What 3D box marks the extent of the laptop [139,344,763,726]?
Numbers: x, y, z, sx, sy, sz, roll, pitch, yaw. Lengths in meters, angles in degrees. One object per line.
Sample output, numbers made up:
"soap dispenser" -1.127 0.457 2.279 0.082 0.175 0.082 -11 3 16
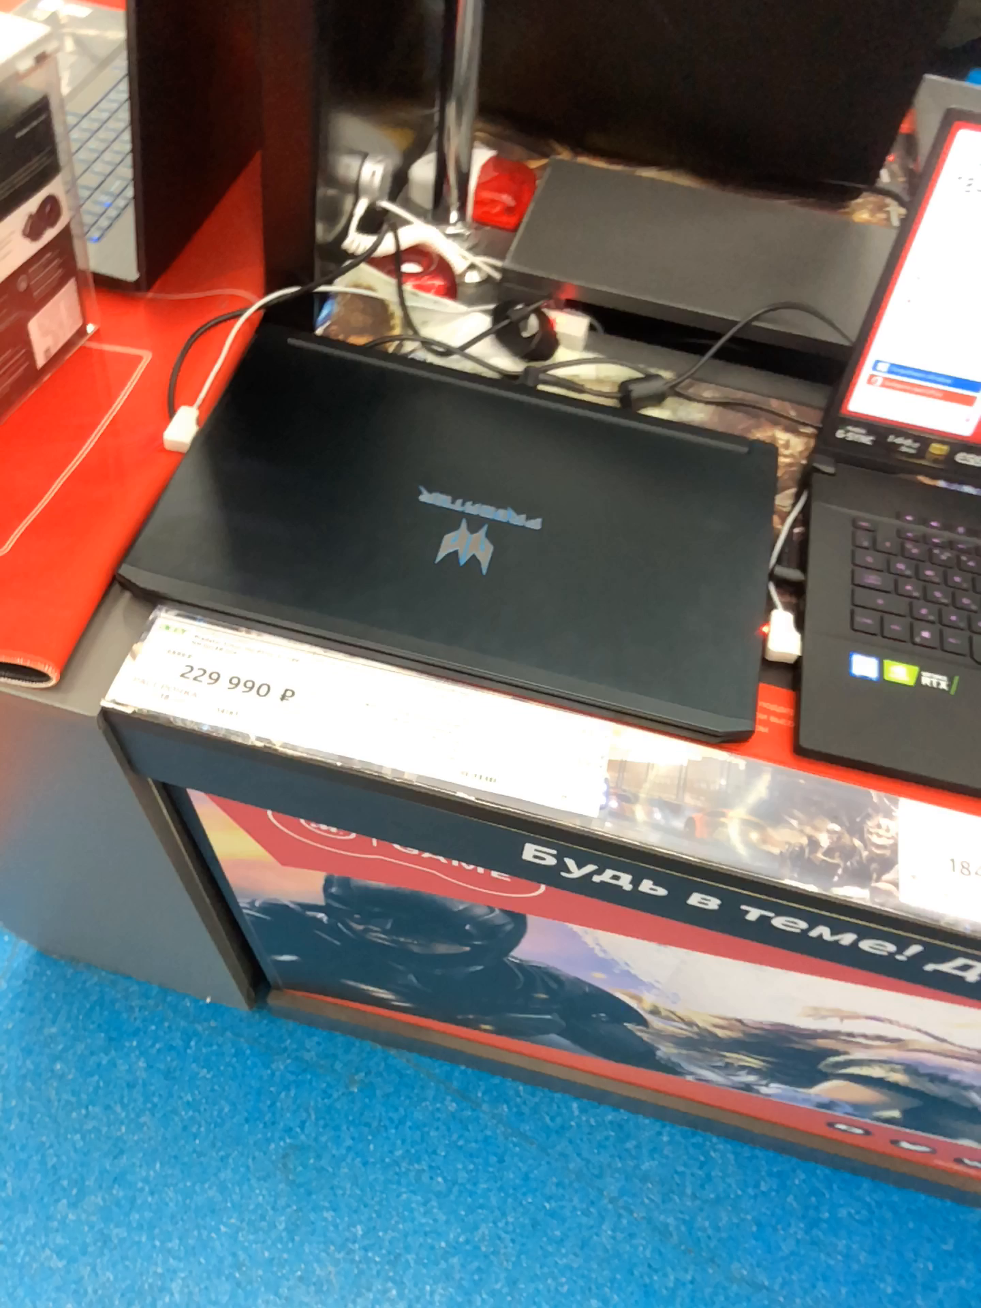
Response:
"laptop" -0.008 -0.088 0.688 0.353 0.006 0.222 14 53 2
